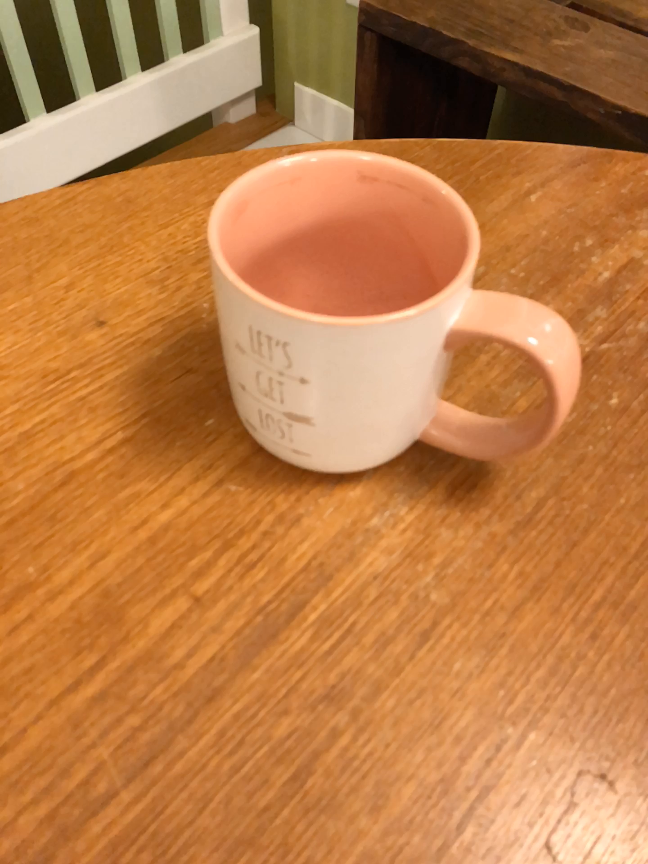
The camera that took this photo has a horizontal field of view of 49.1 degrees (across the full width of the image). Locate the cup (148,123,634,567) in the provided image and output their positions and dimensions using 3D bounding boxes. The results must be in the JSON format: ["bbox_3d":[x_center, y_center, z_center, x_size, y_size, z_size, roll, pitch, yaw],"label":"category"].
[{"bbox_3d":[0.025,-0.036,0.286,0.144,0.106,0.094,20,55,13],"label":"cup"}]
